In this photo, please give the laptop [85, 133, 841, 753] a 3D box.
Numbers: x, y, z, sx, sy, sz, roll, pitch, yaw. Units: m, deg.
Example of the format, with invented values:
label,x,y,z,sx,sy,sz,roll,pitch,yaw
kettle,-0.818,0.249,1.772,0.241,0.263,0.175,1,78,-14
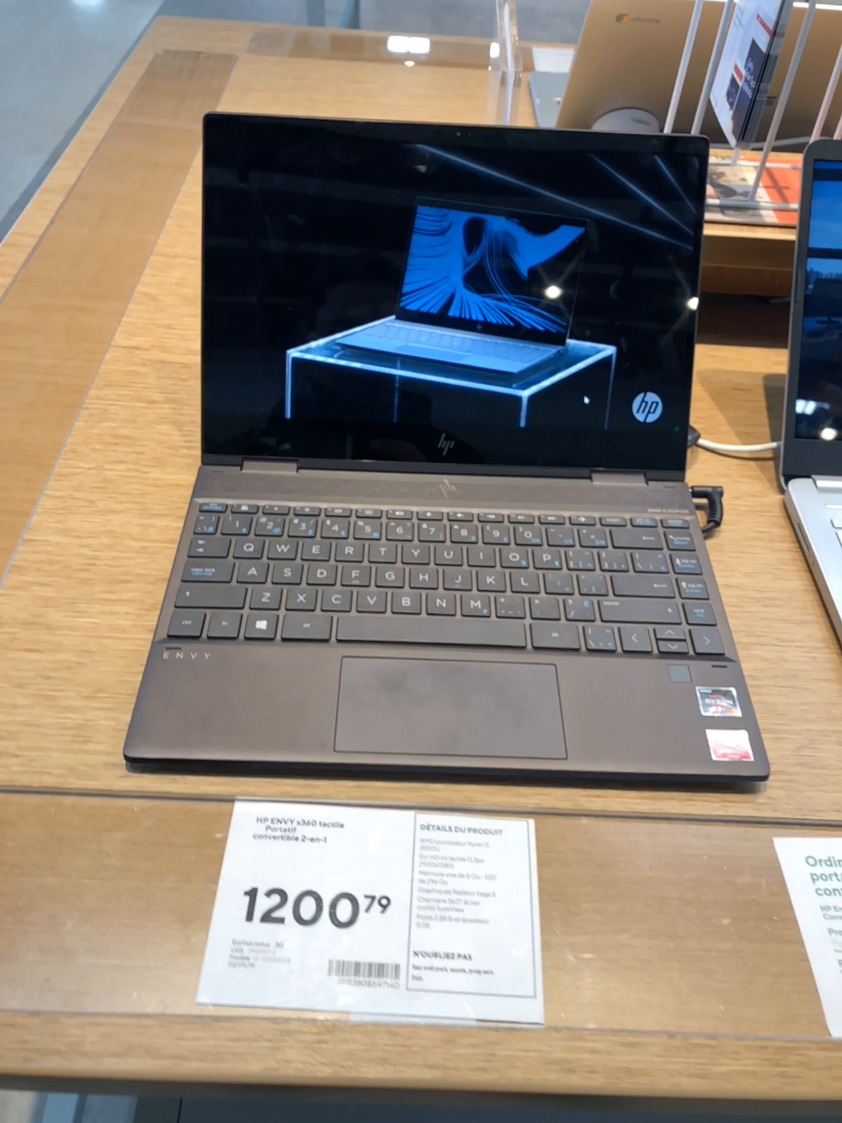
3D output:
label,x,y,z,sx,sy,sz,roll,pitch,yaw
laptop,0.026,-0.081,0.501,0.293,0.162,0.319,2,45,-1
